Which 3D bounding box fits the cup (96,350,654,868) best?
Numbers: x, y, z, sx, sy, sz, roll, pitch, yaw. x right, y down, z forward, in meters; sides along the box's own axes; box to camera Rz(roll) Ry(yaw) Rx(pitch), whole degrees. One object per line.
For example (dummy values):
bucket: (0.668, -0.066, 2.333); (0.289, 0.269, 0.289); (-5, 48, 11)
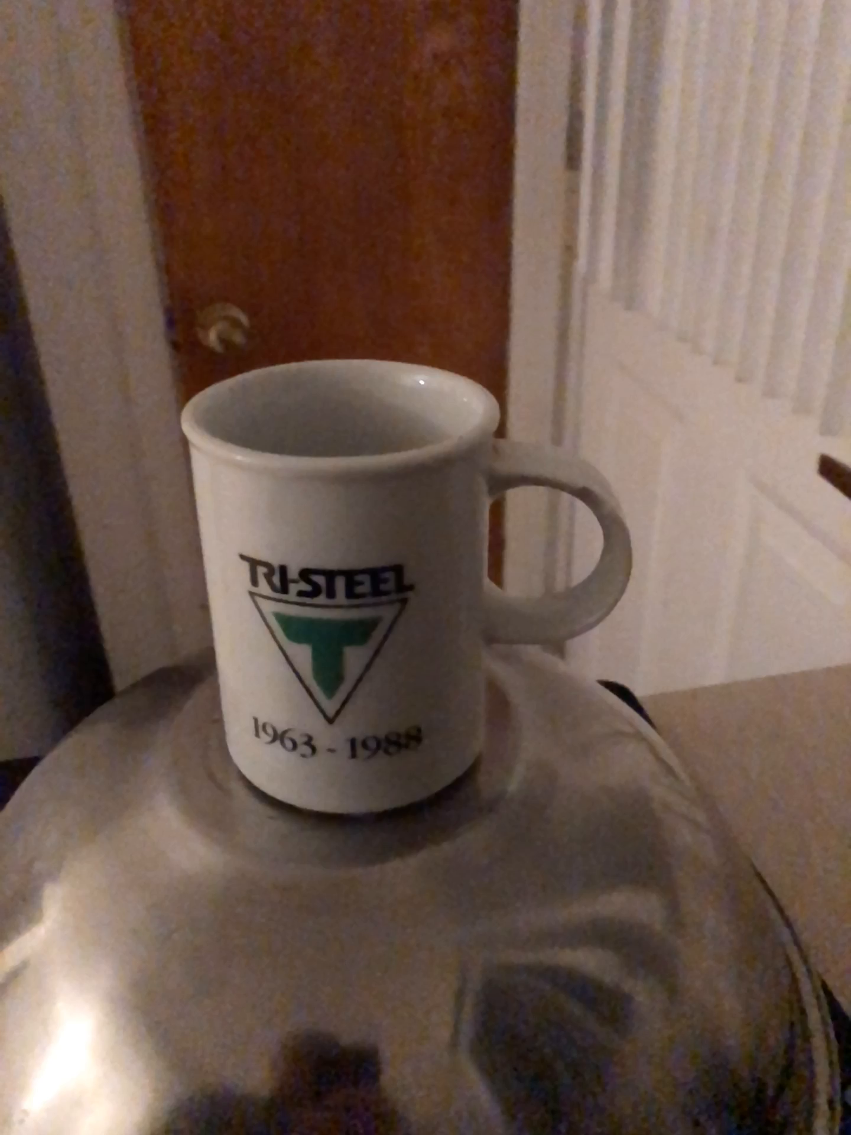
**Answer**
cup: (-0.006, 0.006, 0.248); (0.116, 0.099, 0.071); (7, 31, 13)
